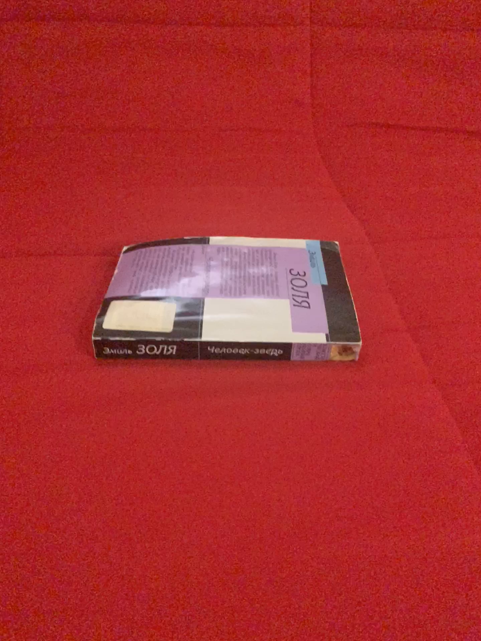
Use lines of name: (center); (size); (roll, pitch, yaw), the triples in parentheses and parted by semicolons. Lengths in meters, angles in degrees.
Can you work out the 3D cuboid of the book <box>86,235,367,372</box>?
book: (-0.008, -0.016, 0.352); (0.170, 0.033, 0.109); (1, 42, -1)
